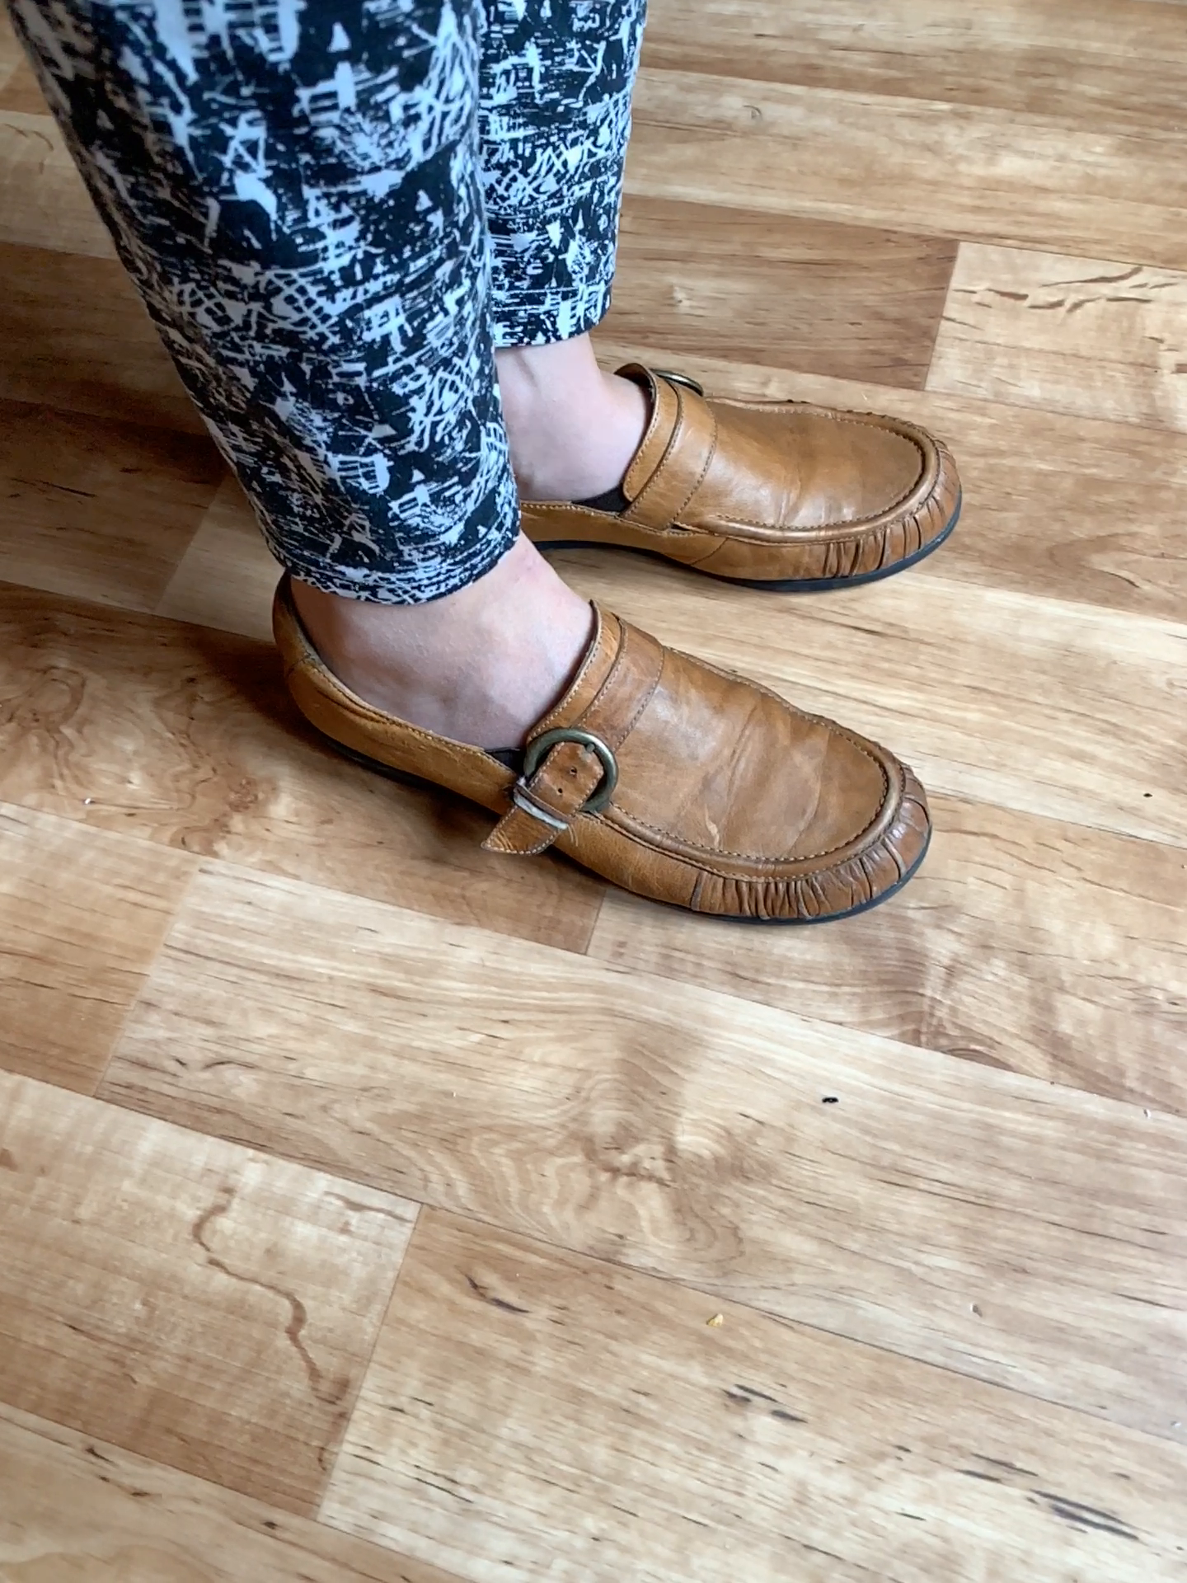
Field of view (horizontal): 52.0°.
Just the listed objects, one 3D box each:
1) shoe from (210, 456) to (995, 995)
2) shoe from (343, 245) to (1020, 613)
[{"bbox_3d":[0.003,-0.020,0.351,0.190,0.070,0.080,18,66,13],"label":"shoe"},{"bbox_3d":[0.026,-0.113,0.392,0.190,0.070,0.080,-1,64,4],"label":"shoe"}]
